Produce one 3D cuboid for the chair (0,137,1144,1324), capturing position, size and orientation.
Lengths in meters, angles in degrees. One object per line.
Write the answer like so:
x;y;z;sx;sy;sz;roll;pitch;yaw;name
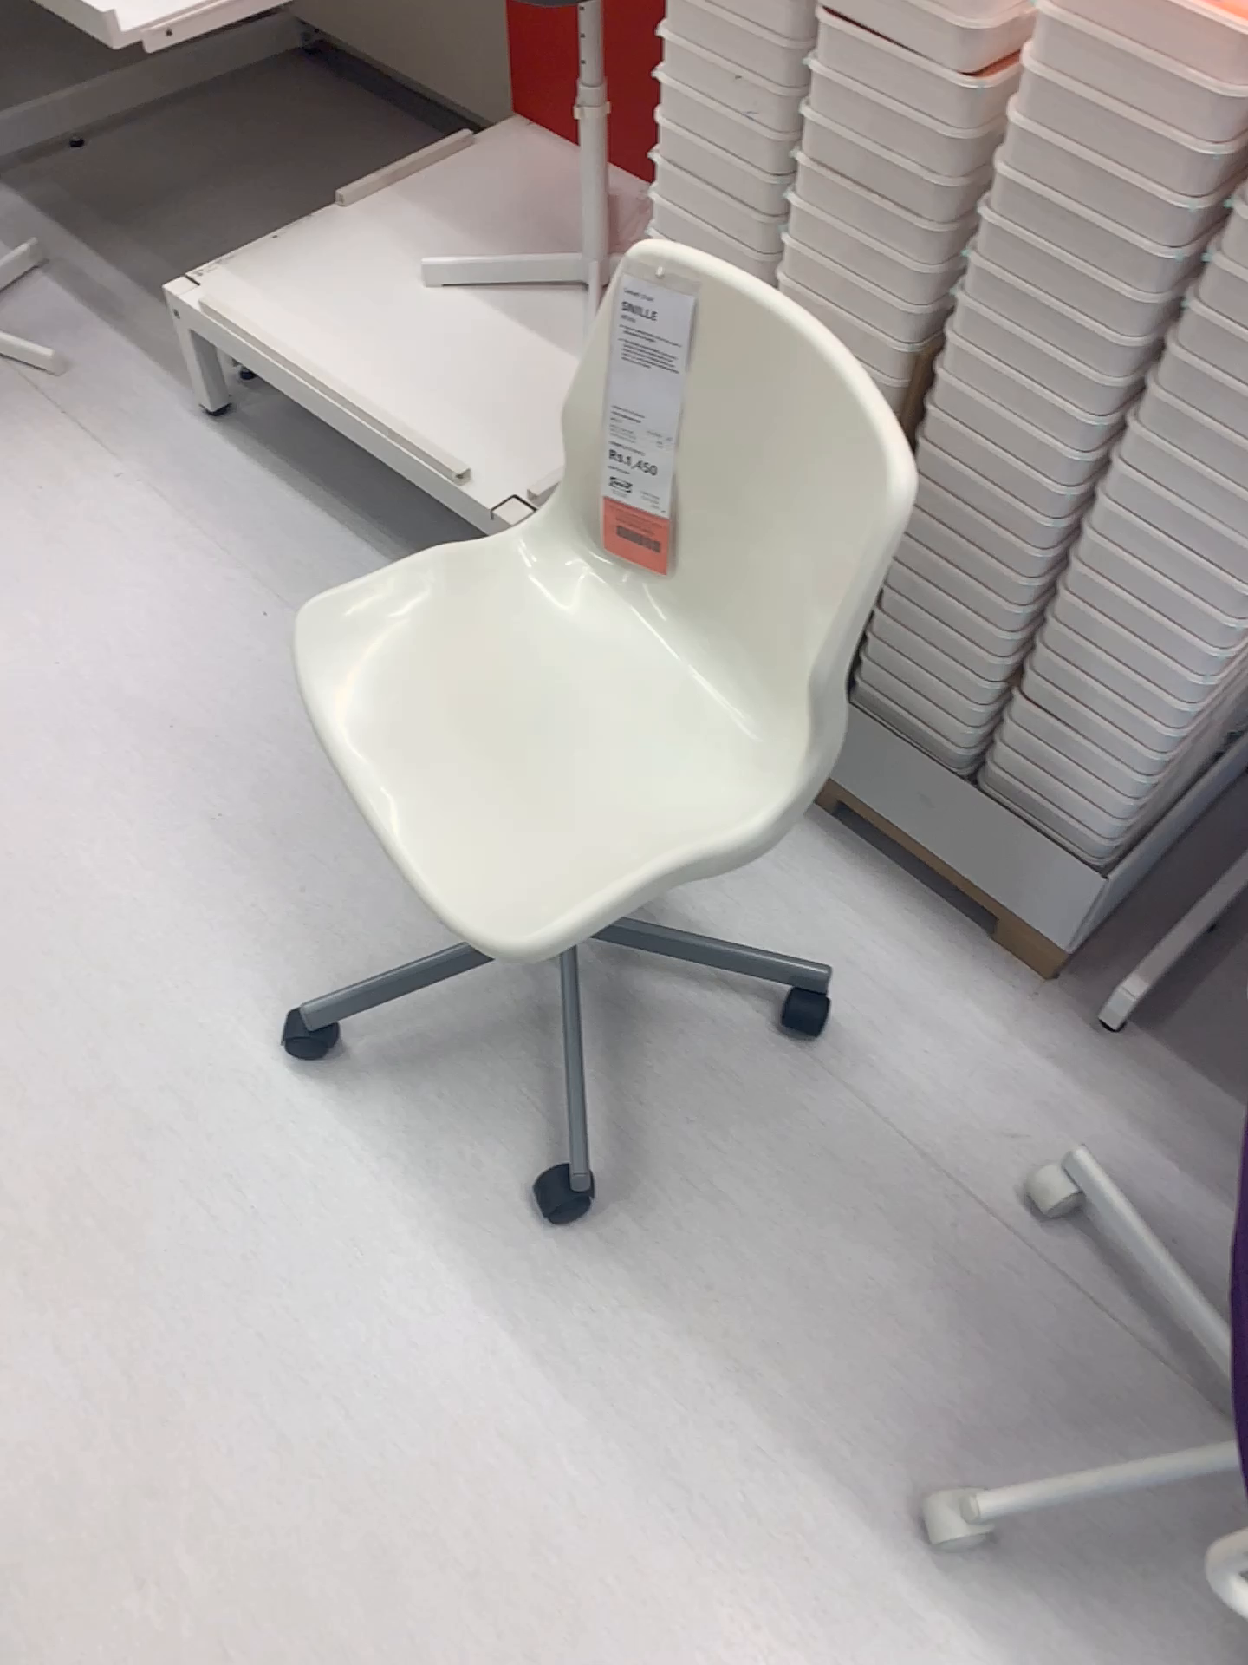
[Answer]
-0.092;-0.094;1.223;0.680;0.688;0.641;-29;60;-20;chair
